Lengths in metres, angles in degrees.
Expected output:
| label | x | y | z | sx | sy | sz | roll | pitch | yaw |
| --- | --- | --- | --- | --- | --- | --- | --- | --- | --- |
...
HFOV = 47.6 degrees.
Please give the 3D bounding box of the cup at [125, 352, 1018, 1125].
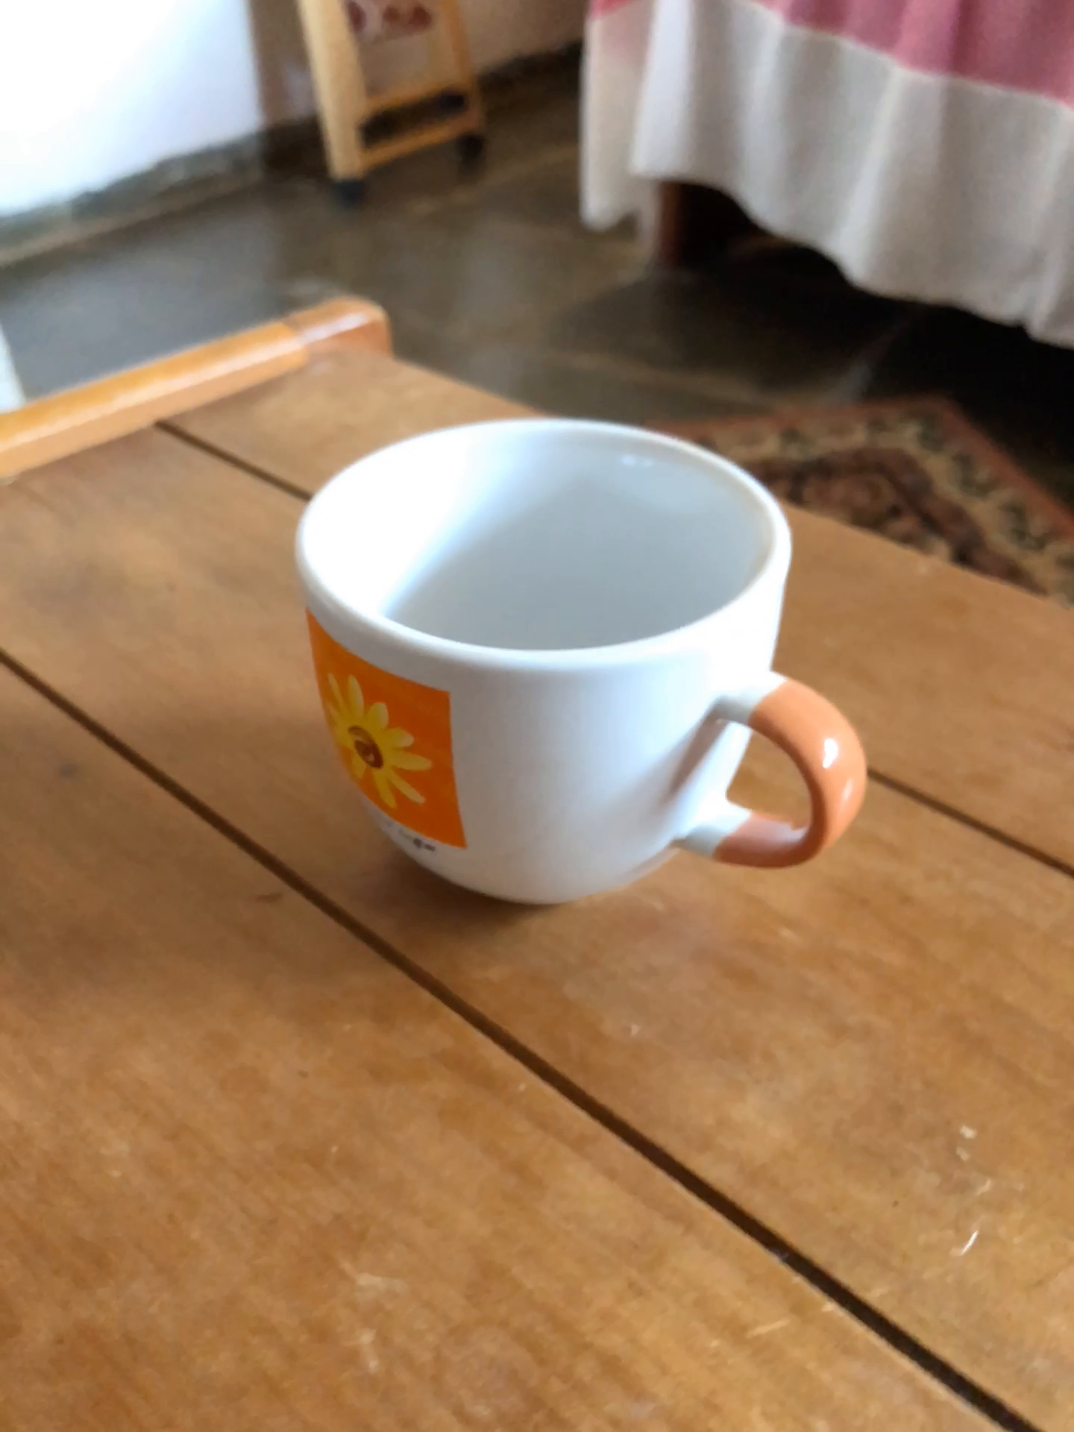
| label | x | y | z | sx | sy | sz | roll | pitch | yaw |
| --- | --- | --- | --- | --- | --- | --- | --- | --- | --- |
| cup | 0.006 | -0.008 | 0.212 | 0.110 | 0.060 | 0.091 | 26 | 45 | 30 |
